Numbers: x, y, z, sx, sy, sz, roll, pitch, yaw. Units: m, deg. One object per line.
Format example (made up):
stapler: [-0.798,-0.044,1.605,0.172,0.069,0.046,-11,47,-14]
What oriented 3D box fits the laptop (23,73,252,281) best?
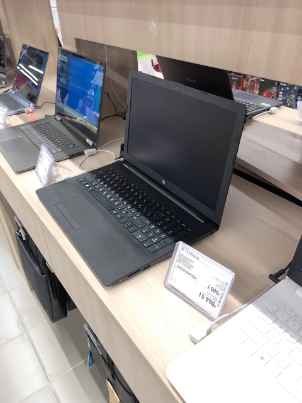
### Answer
laptop: [-0.045,-0.092,0.683,0.297,0.222,0.359,-22,36,-25]
